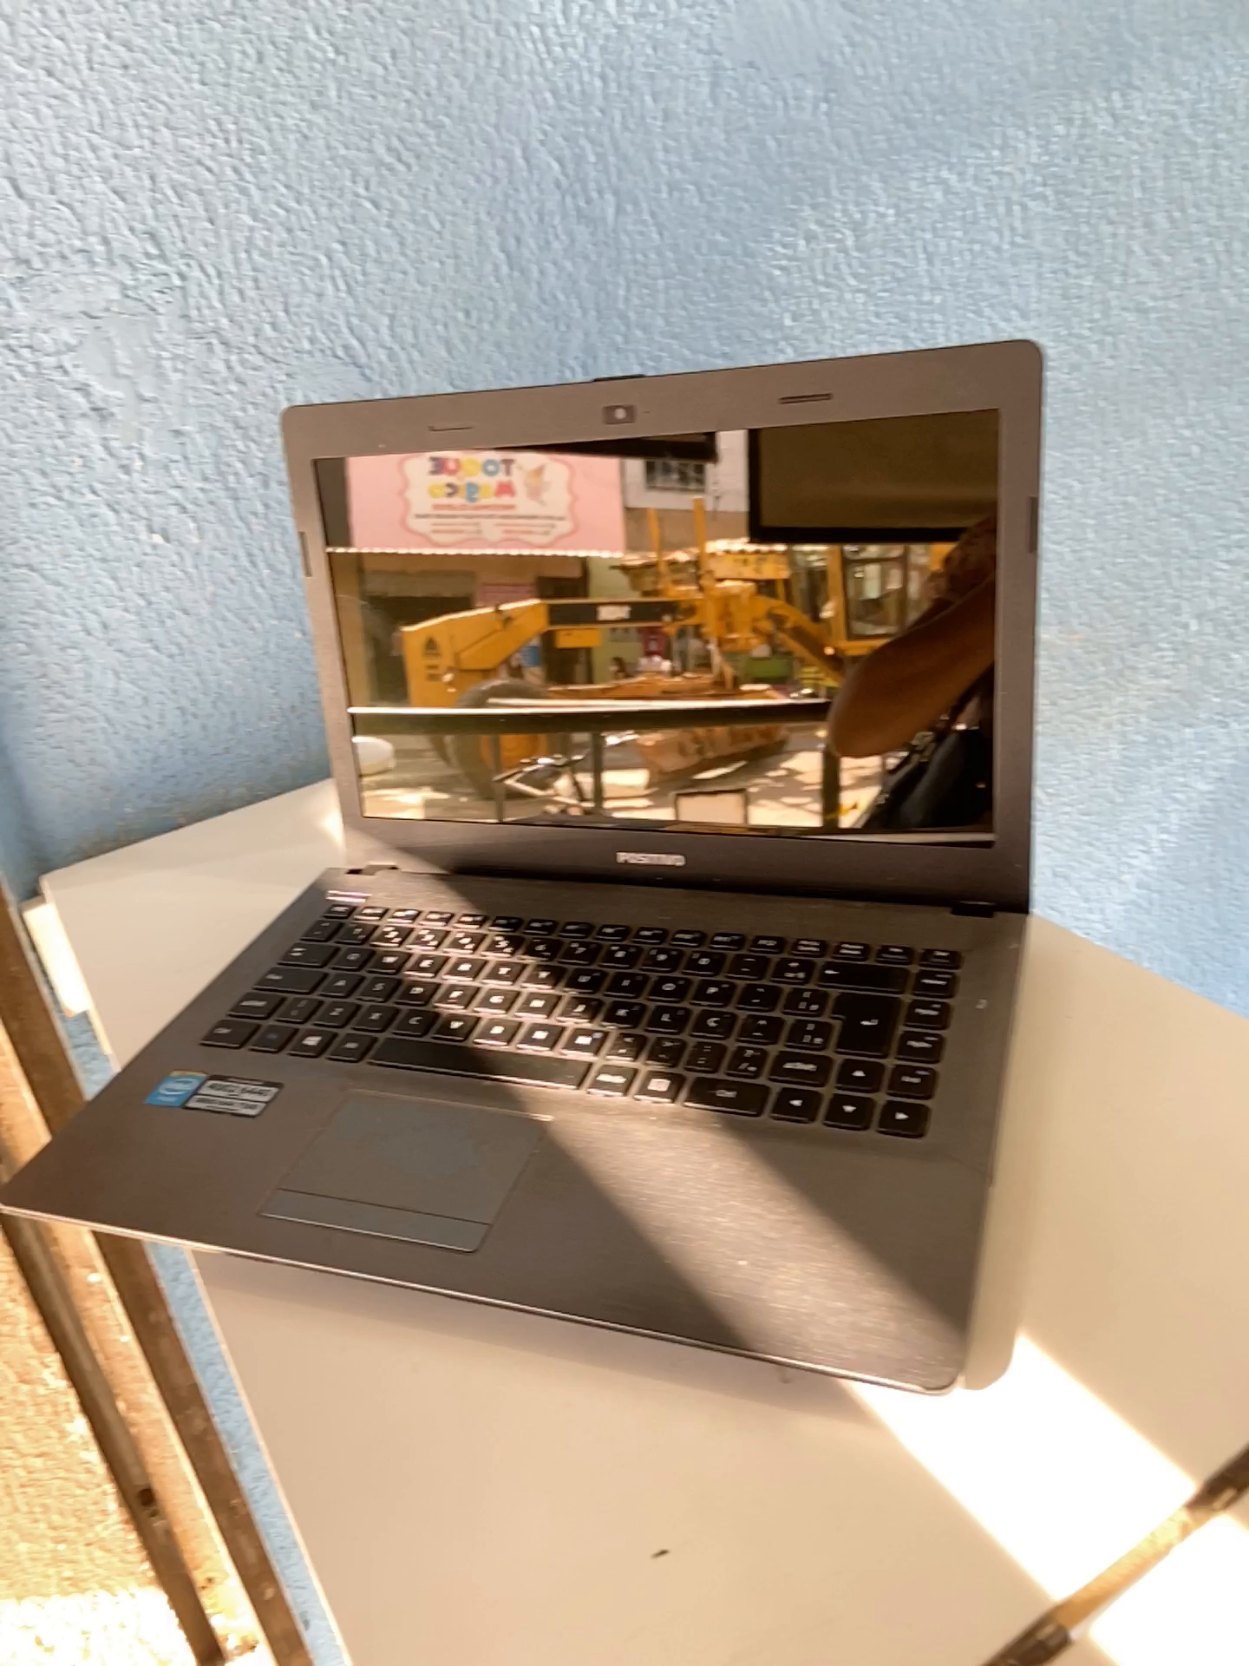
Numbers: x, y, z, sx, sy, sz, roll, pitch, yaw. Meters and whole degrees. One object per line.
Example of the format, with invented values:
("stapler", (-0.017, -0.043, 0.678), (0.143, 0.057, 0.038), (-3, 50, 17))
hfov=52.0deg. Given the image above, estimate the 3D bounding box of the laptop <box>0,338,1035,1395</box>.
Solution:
("laptop", (-0.039, -0.026, 0.467), (0.334, 0.211, 0.284), (2, 29, 22))
